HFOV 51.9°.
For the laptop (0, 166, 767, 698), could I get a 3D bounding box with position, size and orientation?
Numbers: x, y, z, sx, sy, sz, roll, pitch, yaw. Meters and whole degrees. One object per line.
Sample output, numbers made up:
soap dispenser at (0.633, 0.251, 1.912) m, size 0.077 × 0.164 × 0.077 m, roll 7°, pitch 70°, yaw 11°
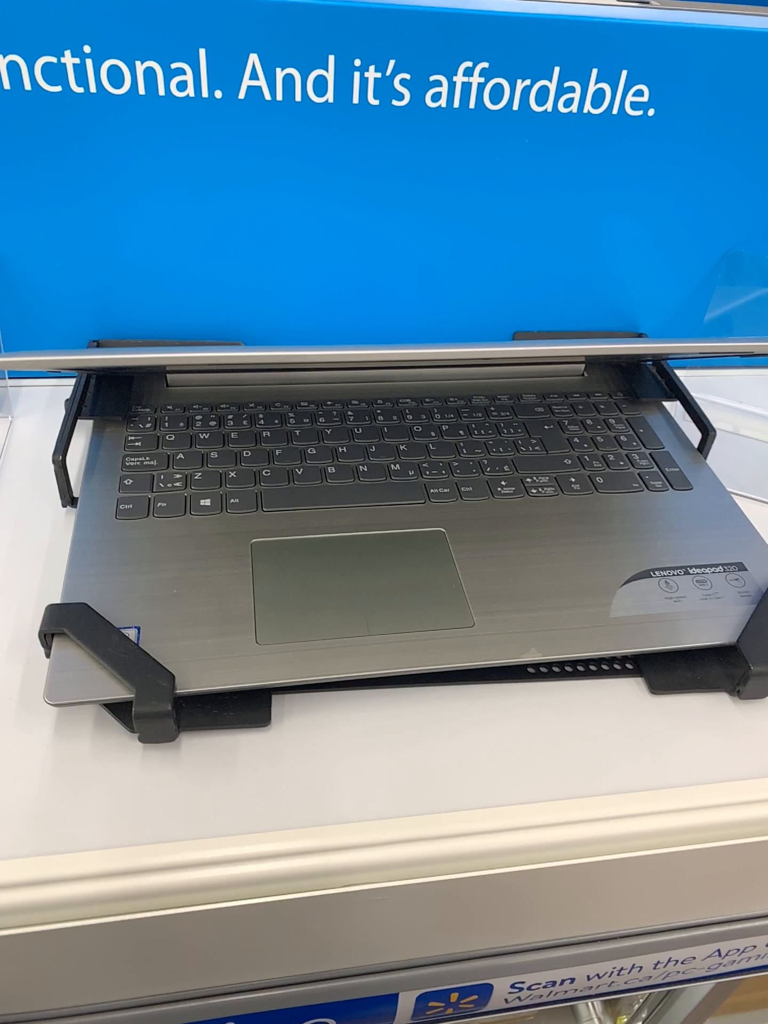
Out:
laptop at (0.022, -0.056, 0.361) m, size 0.324 × 0.110 × 0.220 m, roll -3°, pitch 42°, yaw -11°
